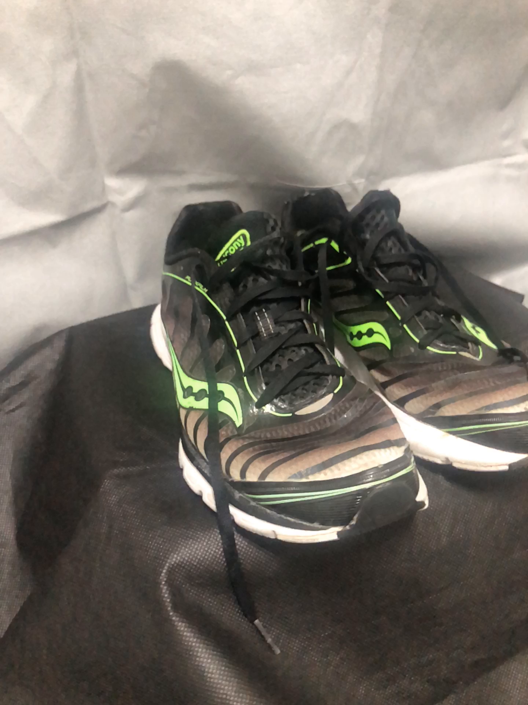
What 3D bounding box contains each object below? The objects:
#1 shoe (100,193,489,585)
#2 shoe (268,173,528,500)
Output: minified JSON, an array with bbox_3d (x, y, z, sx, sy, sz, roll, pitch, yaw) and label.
[{"bbox_3d":[-0.007,-0.008,0.332,0.117,0.096,0.225,-13,33,-21],"label":"shoe"},{"bbox_3d":[0.101,-0.034,0.371,0.114,0.097,0.225,-13,33,-21],"label":"shoe"}]
